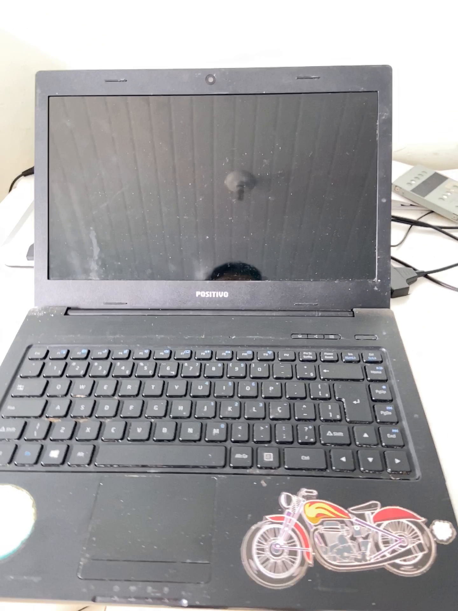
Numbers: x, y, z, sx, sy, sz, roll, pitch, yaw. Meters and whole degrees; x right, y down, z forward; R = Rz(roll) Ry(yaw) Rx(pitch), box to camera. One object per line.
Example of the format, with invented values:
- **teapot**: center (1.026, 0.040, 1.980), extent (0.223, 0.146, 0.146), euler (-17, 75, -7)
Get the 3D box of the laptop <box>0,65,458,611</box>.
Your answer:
- **laptop**: center (-0.024, -0.030, 0.354), extent (0.334, 0.162, 0.395), euler (0, 43, 3)
